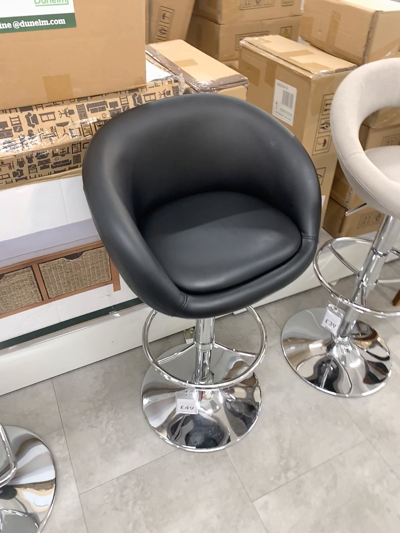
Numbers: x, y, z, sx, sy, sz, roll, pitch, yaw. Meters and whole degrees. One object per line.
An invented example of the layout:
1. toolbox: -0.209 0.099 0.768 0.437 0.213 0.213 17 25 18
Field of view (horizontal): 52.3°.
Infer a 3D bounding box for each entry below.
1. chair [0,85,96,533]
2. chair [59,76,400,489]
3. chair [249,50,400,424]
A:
1. chair: -0.555 0.248 0.777 0.445 0.948 0.443 -22 47 -26
2. chair: 0.021 0.065 1.044 0.475 0.868 0.443 -20 46 -24
3. chair: 0.508 -0.053 1.196 0.445 0.918 0.433 -22 47 -26
